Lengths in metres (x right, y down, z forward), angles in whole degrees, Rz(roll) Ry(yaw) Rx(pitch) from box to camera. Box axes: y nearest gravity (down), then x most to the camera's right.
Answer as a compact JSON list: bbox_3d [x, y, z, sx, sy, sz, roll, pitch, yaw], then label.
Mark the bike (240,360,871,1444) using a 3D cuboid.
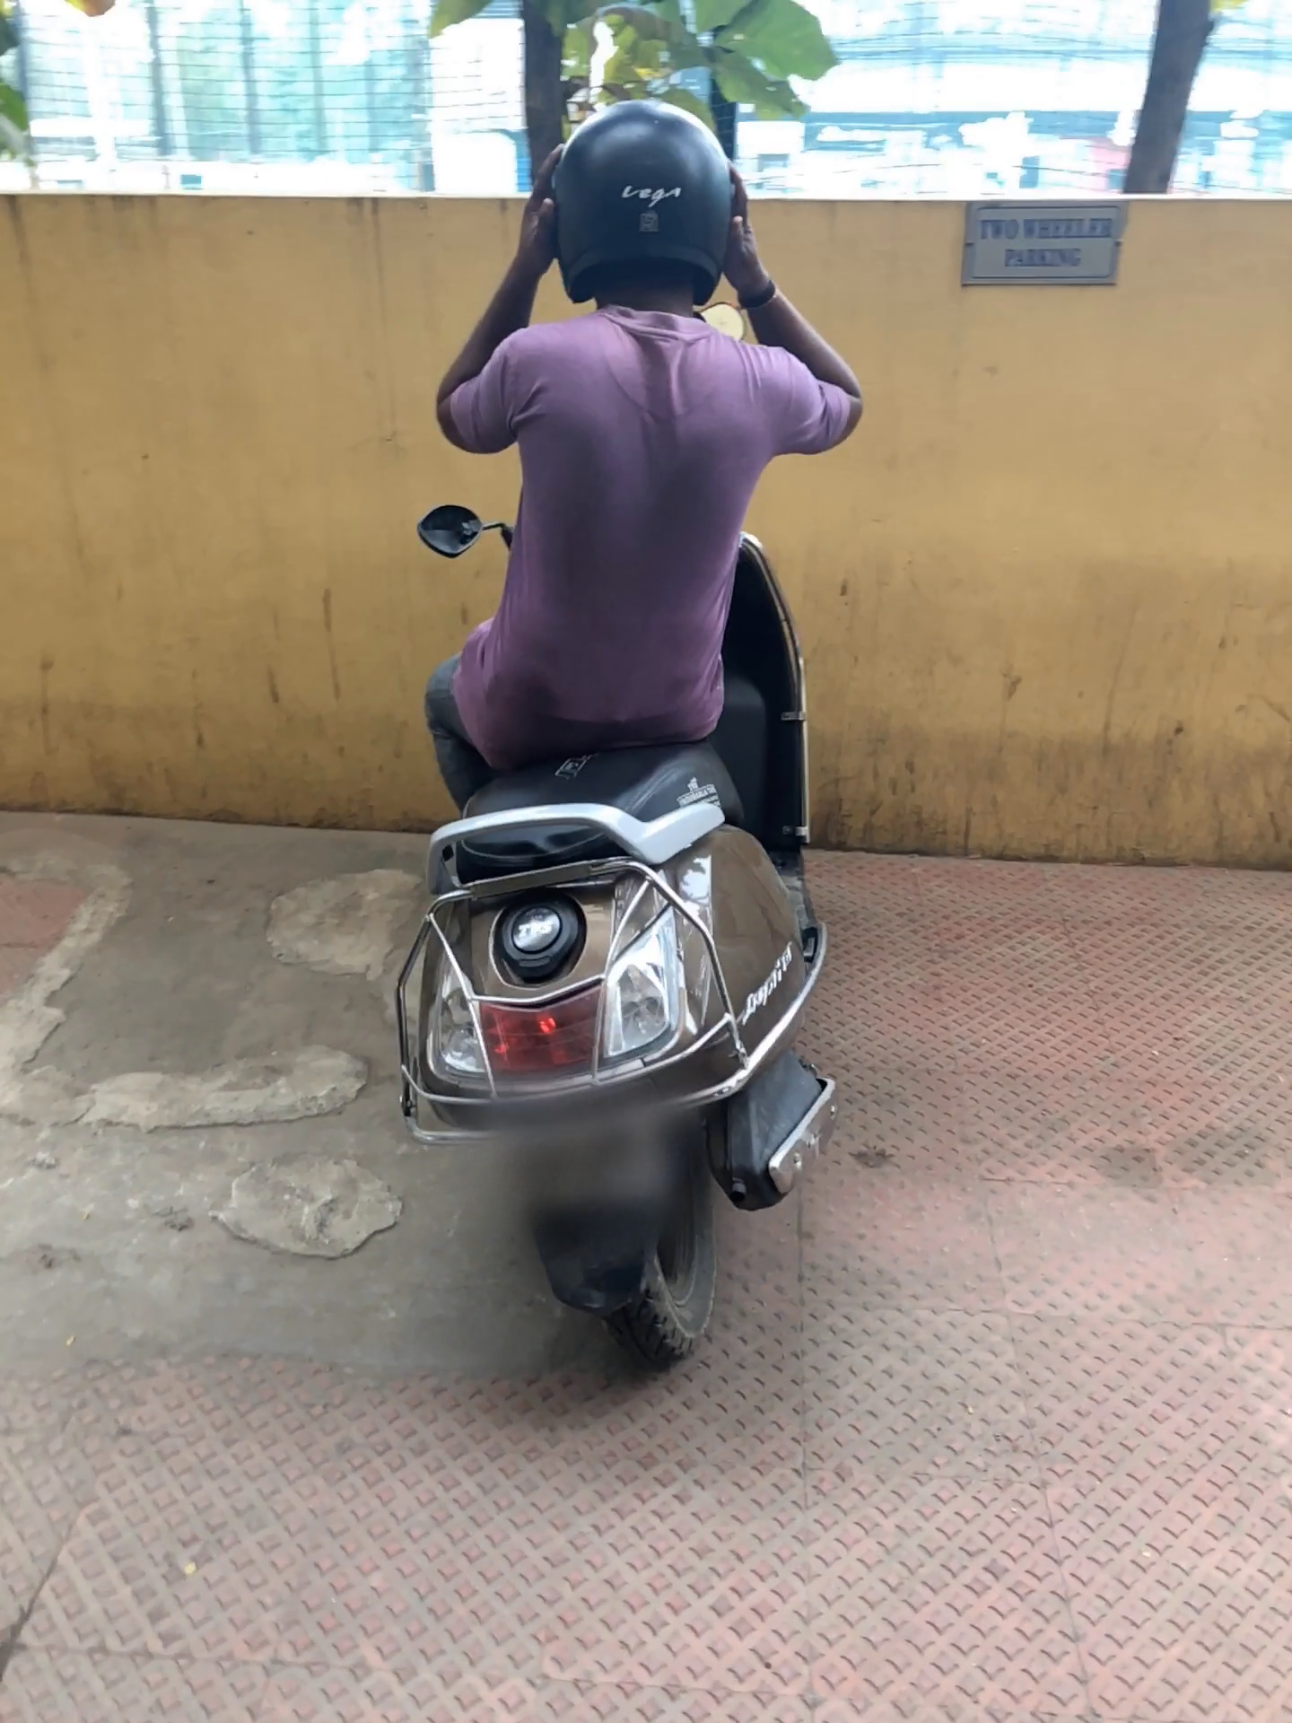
[{"bbox_3d":[-0.112,-0.141,2.461,0.643,1.182,1.724,0,26,0],"label":"bike"}]
